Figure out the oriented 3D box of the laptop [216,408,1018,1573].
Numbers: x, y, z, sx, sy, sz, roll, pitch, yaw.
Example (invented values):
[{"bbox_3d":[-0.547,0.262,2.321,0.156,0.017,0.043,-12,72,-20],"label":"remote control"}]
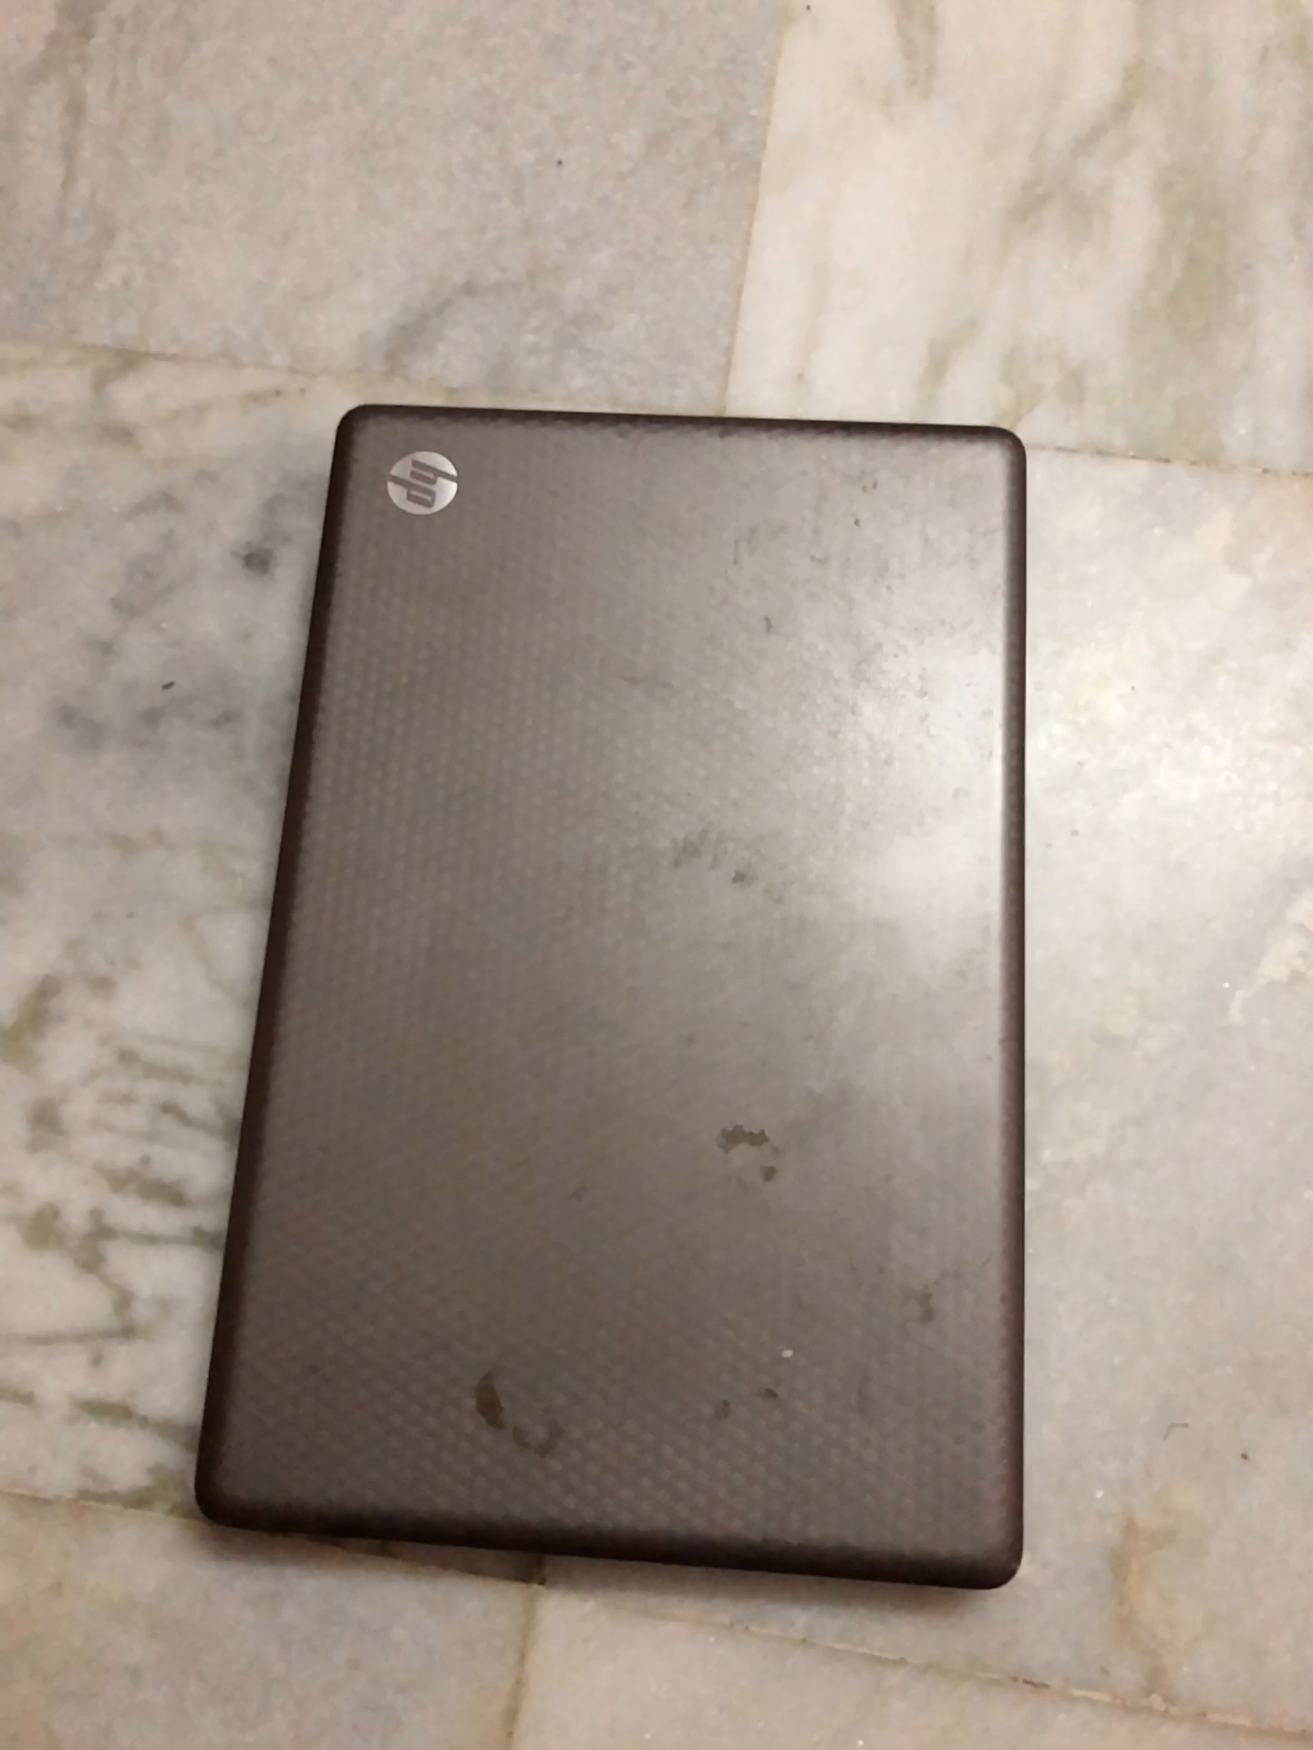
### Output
[{"bbox_3d":[-0.002,0.019,0.505,0.252,0.003,0.394,3,76,3],"label":"laptop"}]
